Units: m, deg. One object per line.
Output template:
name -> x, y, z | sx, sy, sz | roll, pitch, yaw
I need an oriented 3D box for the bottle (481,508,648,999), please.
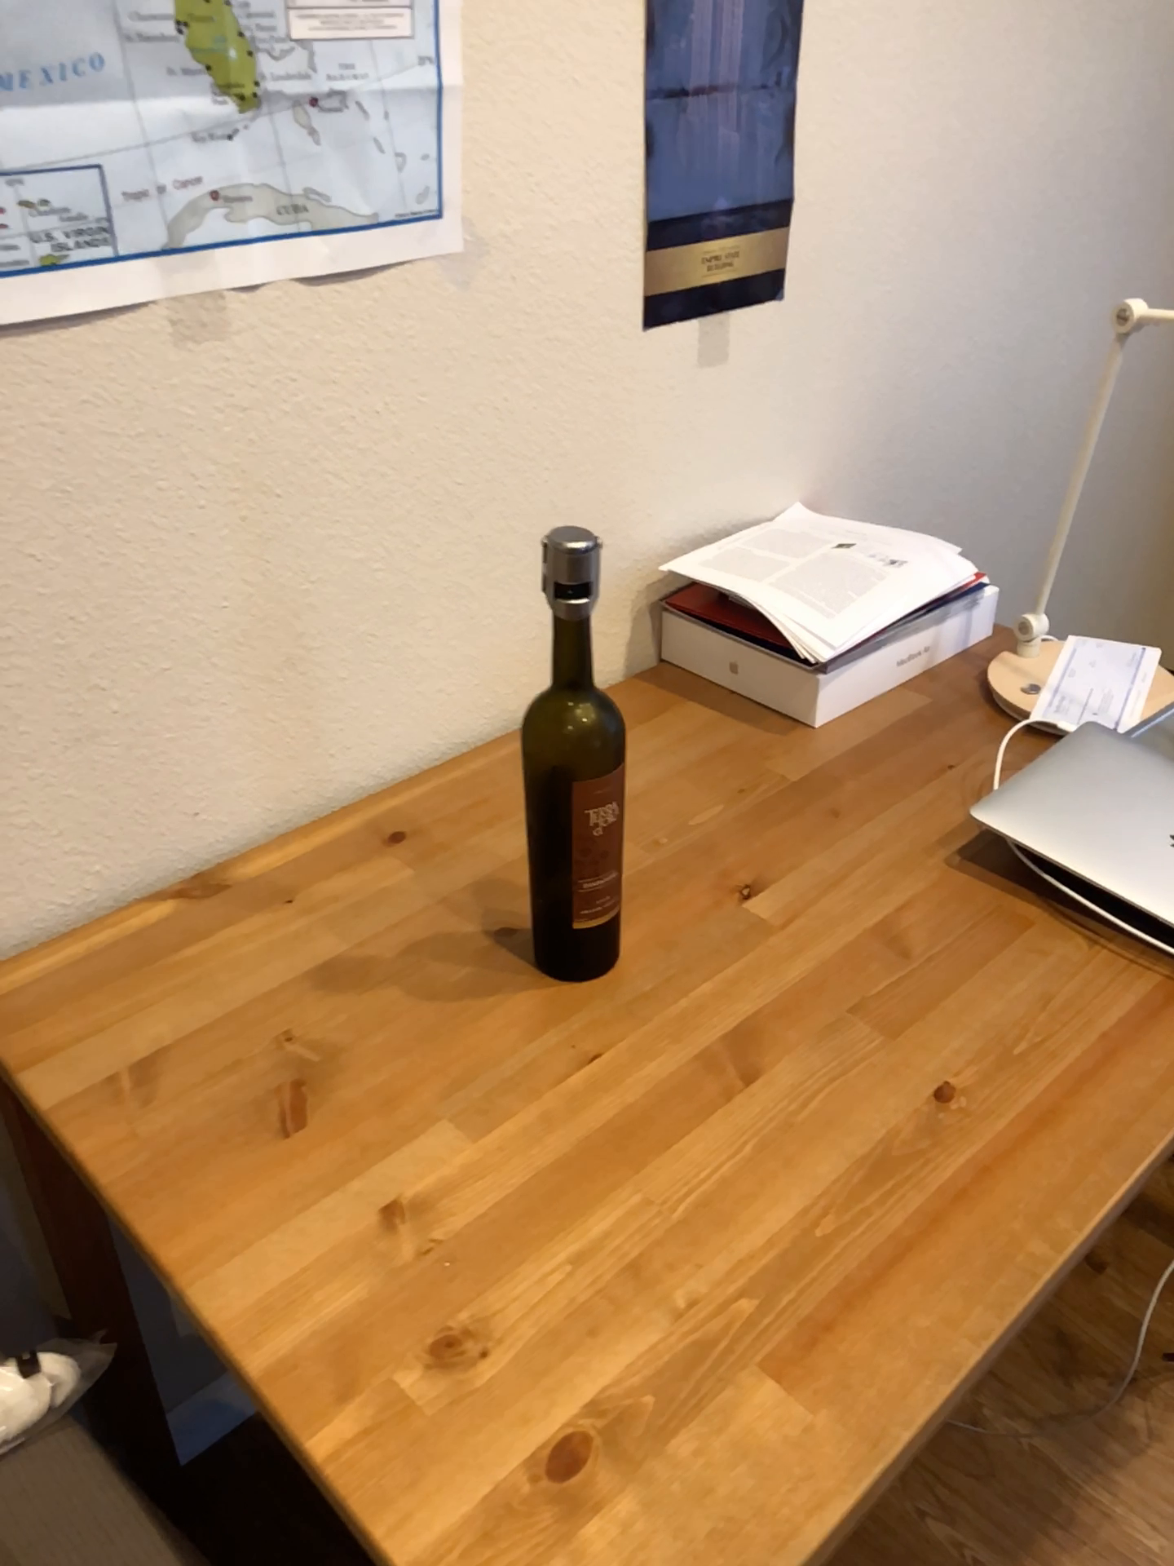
bottle -> -0.012, -0.014, 0.944 | 0.080, 0.348, 0.080 | -1, 31, 1
